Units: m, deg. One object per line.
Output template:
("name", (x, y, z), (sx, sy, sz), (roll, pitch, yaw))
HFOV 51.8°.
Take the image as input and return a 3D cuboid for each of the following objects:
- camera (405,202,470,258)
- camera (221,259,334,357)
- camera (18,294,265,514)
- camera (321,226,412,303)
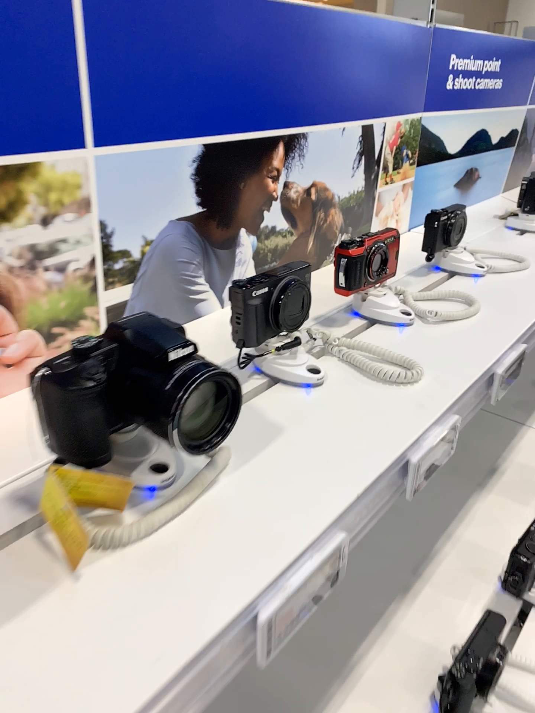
("camera", (0.269, -0.201, 0.869), (0.050, 0.060, 0.110), (21, 33, 35))
("camera", (0.013, -0.055, 0.573), (0.050, 0.060, 0.120), (21, 34, 35))
("camera", (-0.083, 0.022, 0.387), (0.110, 0.080, 0.120), (21, 34, 35))
("camera", (0.128, -0.121, 0.704), (0.050, 0.060, 0.130), (21, 34, 35))
